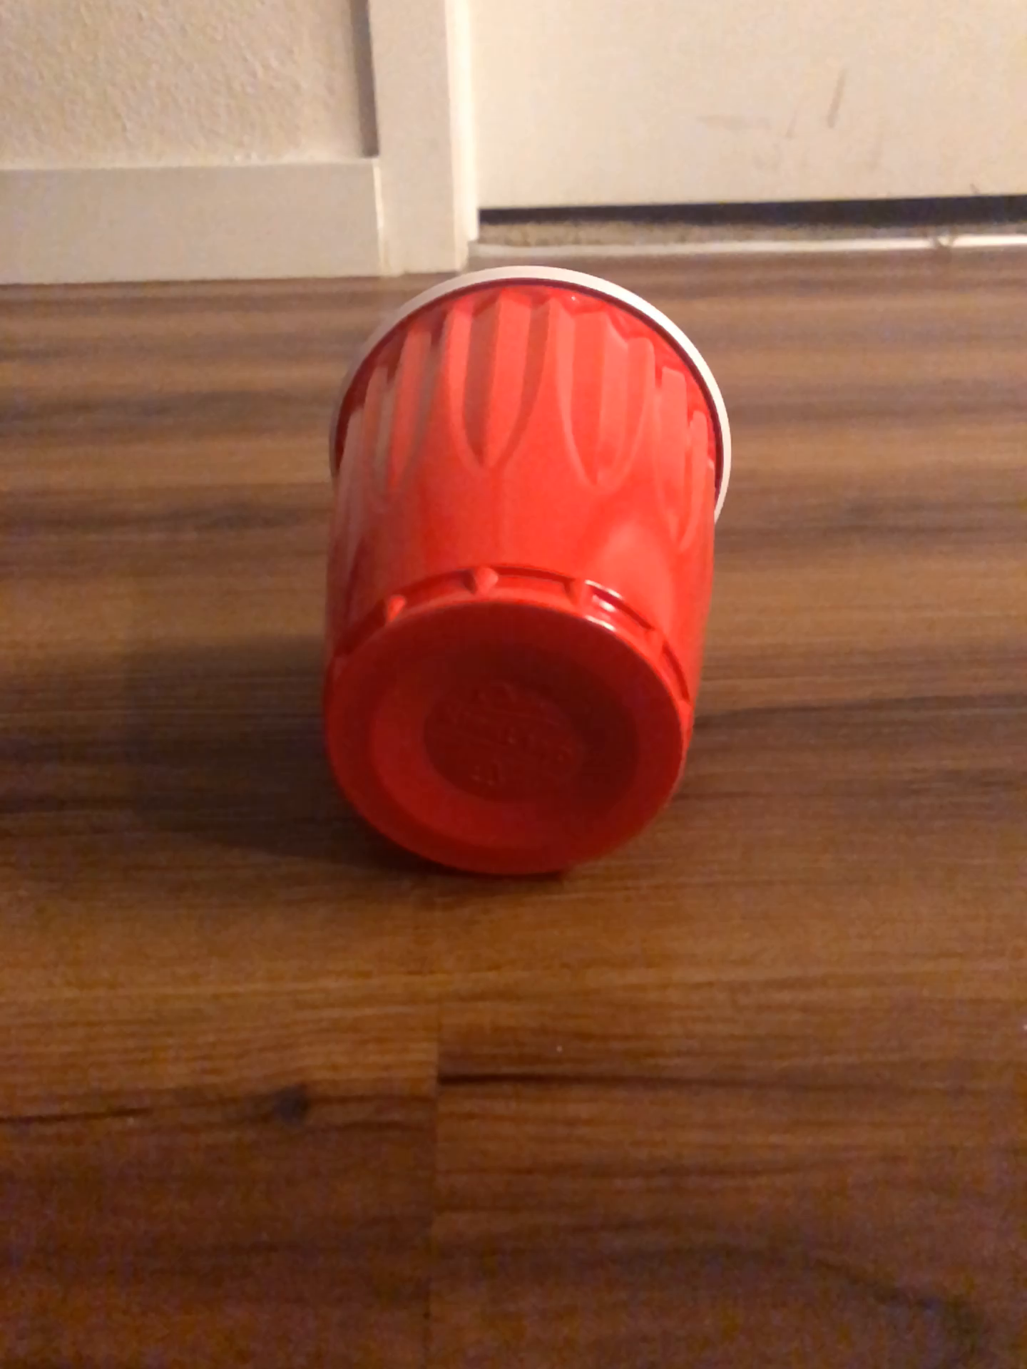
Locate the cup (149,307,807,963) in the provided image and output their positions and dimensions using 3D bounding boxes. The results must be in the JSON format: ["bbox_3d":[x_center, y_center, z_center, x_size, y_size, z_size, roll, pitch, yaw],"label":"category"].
[{"bbox_3d":[-0.001,-0.017,0.244,0.099,0.089,0.115,1,36,5],"label":"cup"}]
